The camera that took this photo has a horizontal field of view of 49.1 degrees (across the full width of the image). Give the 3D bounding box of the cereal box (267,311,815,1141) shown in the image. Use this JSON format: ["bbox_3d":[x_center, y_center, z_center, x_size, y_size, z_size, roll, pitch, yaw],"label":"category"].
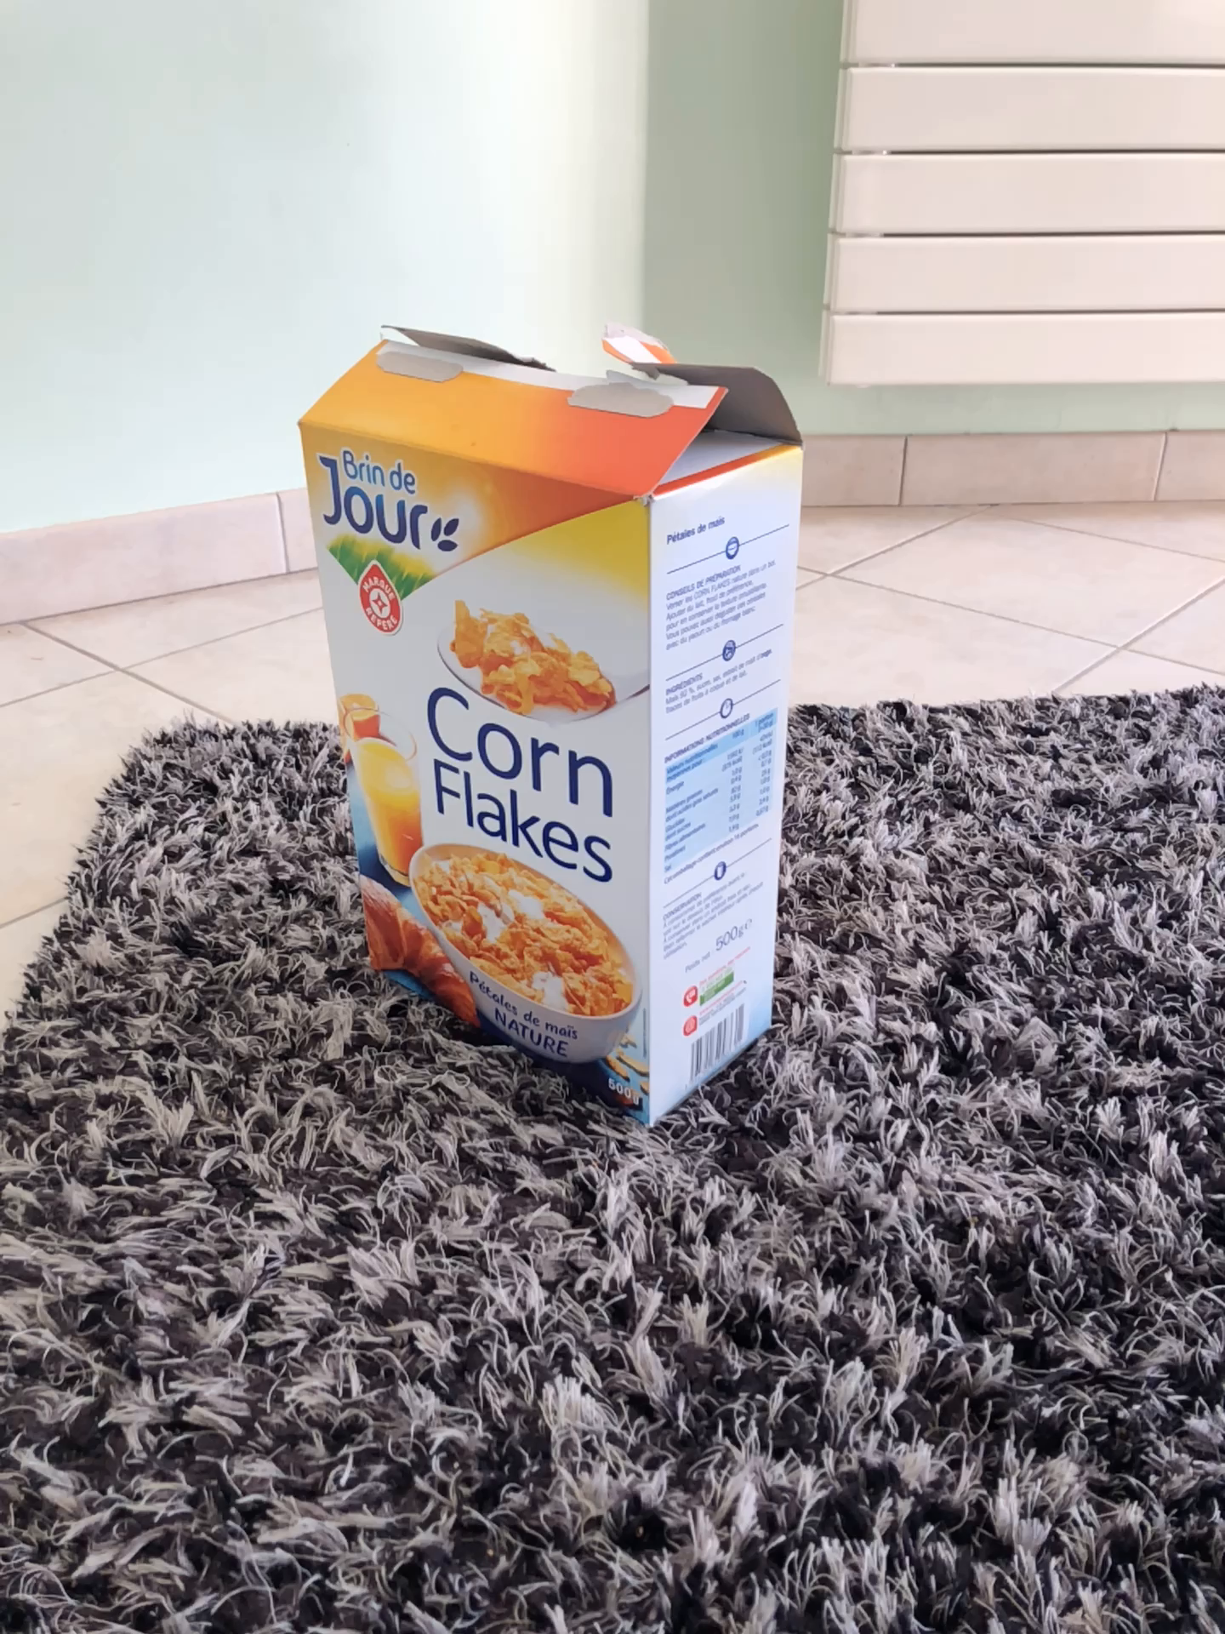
[{"bbox_3d":[-0.033,-0.046,0.596,0.200,0.308,0.101,23,35,35],"label":"cereal box"}]
